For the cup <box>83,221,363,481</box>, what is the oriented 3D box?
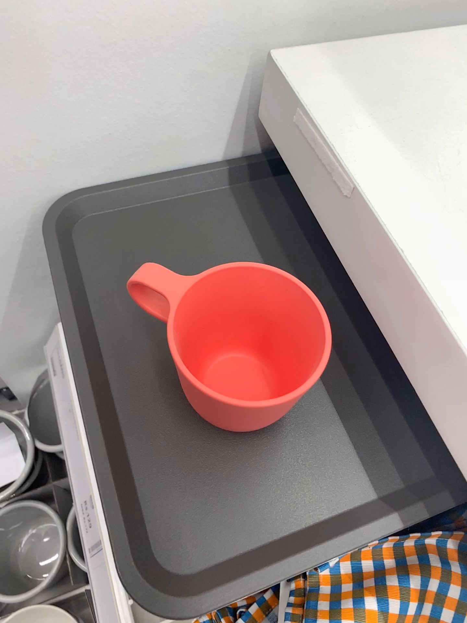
[{"bbox_3d":[-0.006,0.023,0.257,0.110,0.080,0.070,25,59,9],"label":"cup"}]
